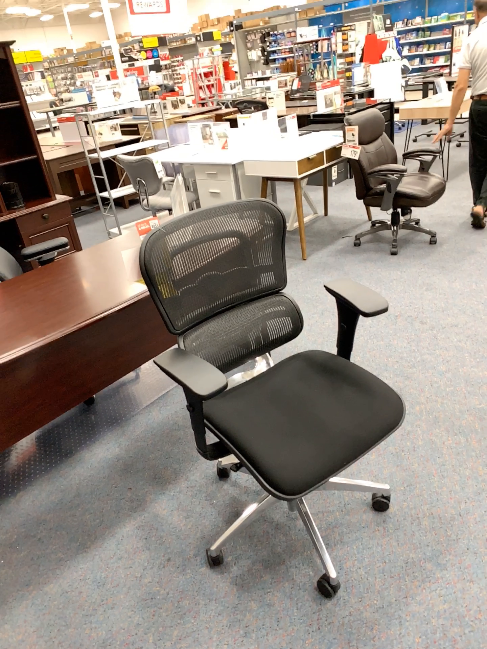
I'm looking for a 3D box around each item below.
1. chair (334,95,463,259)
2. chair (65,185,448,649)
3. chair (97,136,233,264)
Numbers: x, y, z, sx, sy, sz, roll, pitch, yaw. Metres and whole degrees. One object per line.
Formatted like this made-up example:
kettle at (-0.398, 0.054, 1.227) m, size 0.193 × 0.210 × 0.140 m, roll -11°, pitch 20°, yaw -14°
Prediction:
chair at (1.132, -1.081, 3.585) m, size 0.616 × 0.913 × 0.819 m, roll 11°, pitch 34°, yaw 33°
chair at (0.072, 0.194, 1.480) m, size 0.698 × 0.983 × 0.687 m, roll -27°, pitch 33°, yaw -31°
chair at (-0.631, -1.067, 4.118) m, size 0.709 × 0.824 × 0.675 m, roll 18°, pitch 38°, yaw 40°
